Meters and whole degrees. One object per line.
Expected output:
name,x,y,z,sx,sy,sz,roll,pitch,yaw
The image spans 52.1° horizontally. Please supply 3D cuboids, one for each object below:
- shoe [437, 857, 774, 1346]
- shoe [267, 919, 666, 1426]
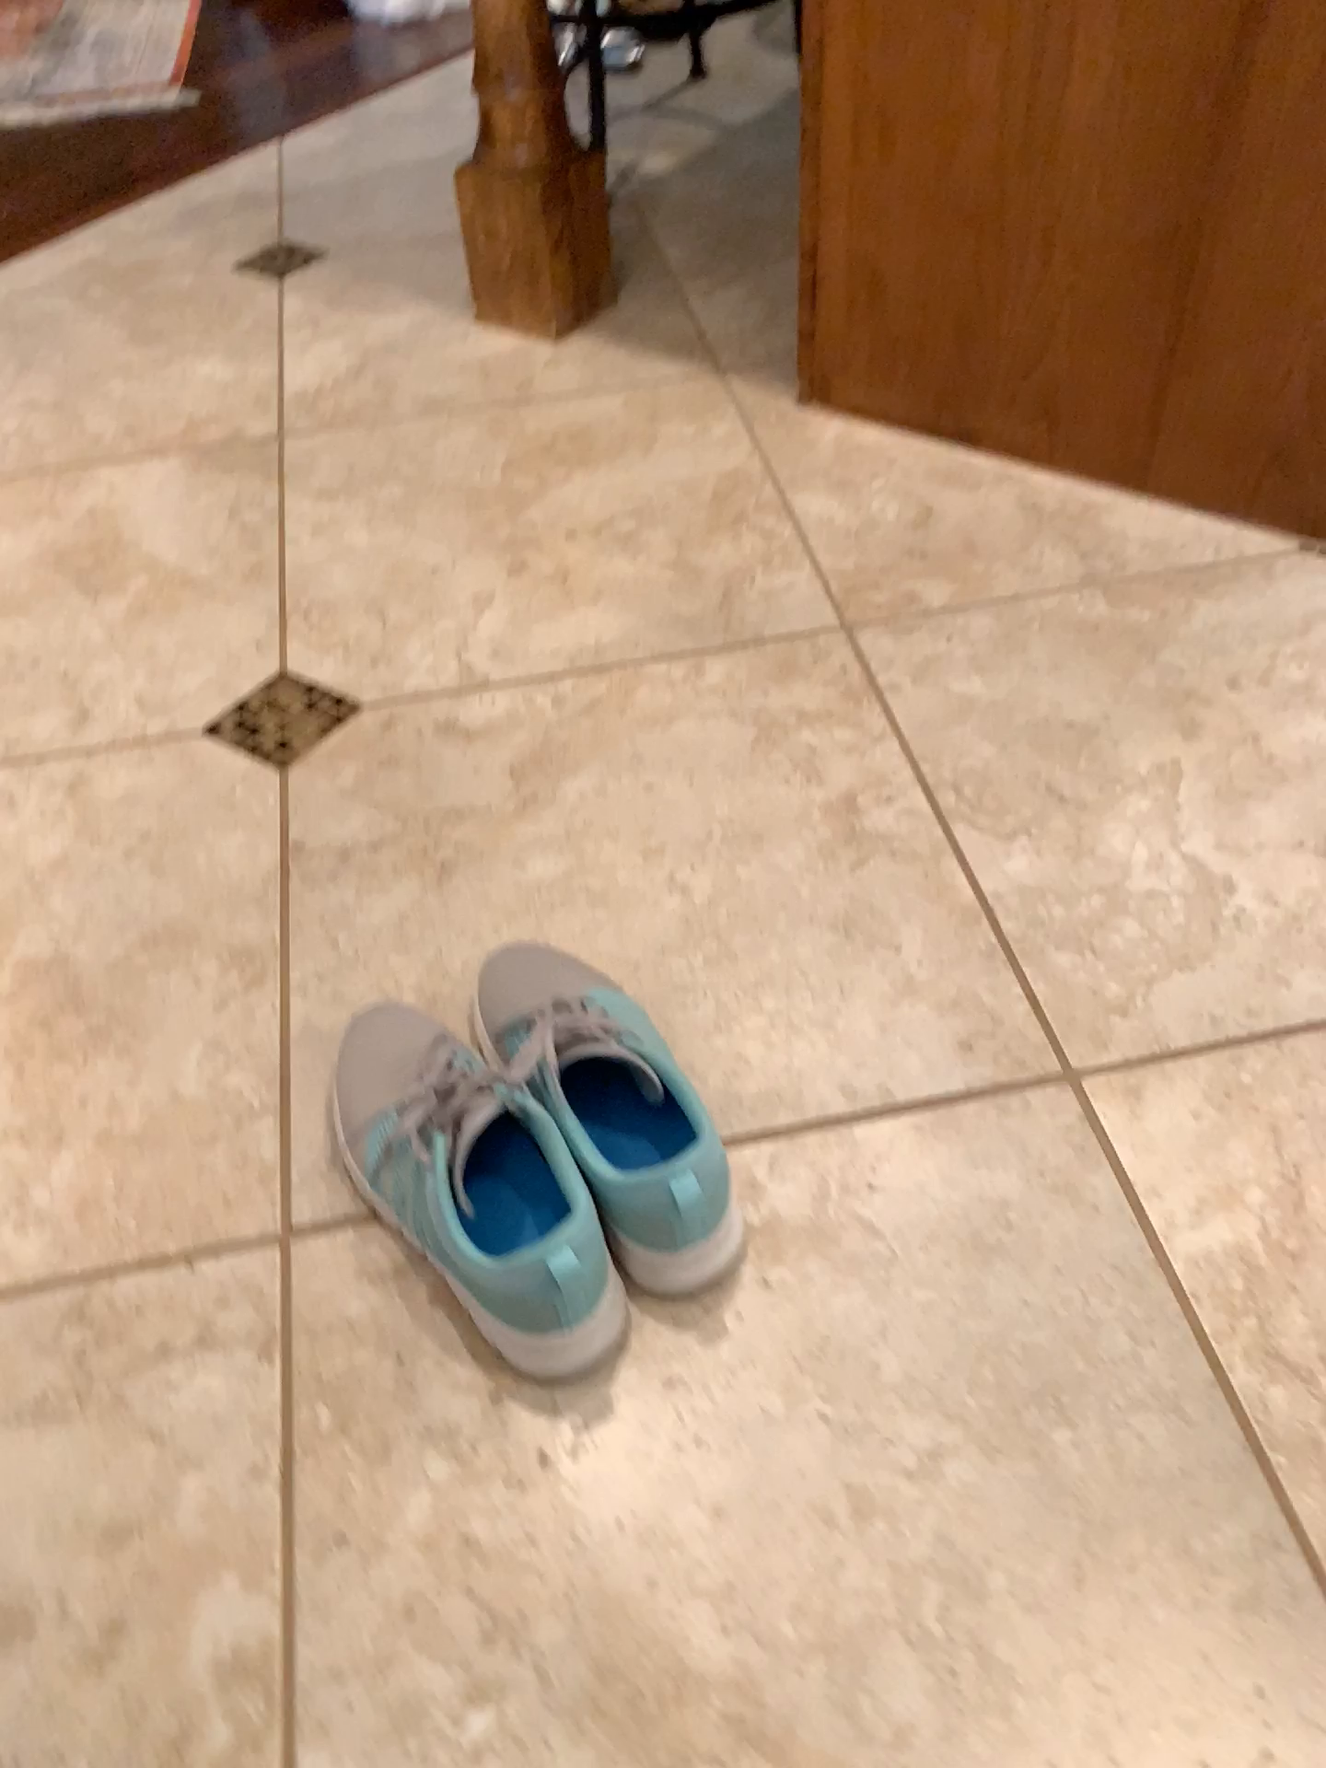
shoe,-0.041,0.124,0.844,0.106,0.108,0.272,-20,48,-14
shoe,-0.121,0.161,0.811,0.106,0.108,0.272,-28,50,-21
